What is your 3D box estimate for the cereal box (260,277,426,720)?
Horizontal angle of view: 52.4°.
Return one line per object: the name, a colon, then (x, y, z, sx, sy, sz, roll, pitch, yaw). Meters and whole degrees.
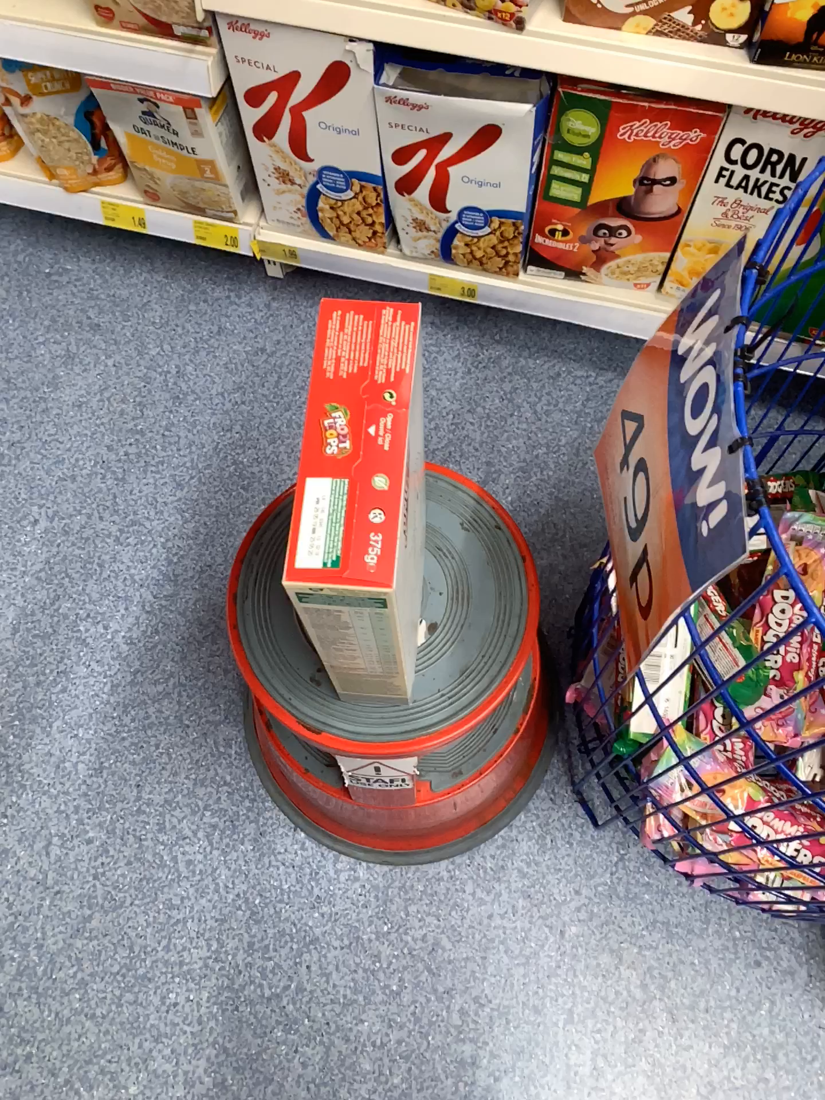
cereal box: (-0.033, -0.013, 0.605, 0.070, 0.289, 0.211, 4, 68, 3)
